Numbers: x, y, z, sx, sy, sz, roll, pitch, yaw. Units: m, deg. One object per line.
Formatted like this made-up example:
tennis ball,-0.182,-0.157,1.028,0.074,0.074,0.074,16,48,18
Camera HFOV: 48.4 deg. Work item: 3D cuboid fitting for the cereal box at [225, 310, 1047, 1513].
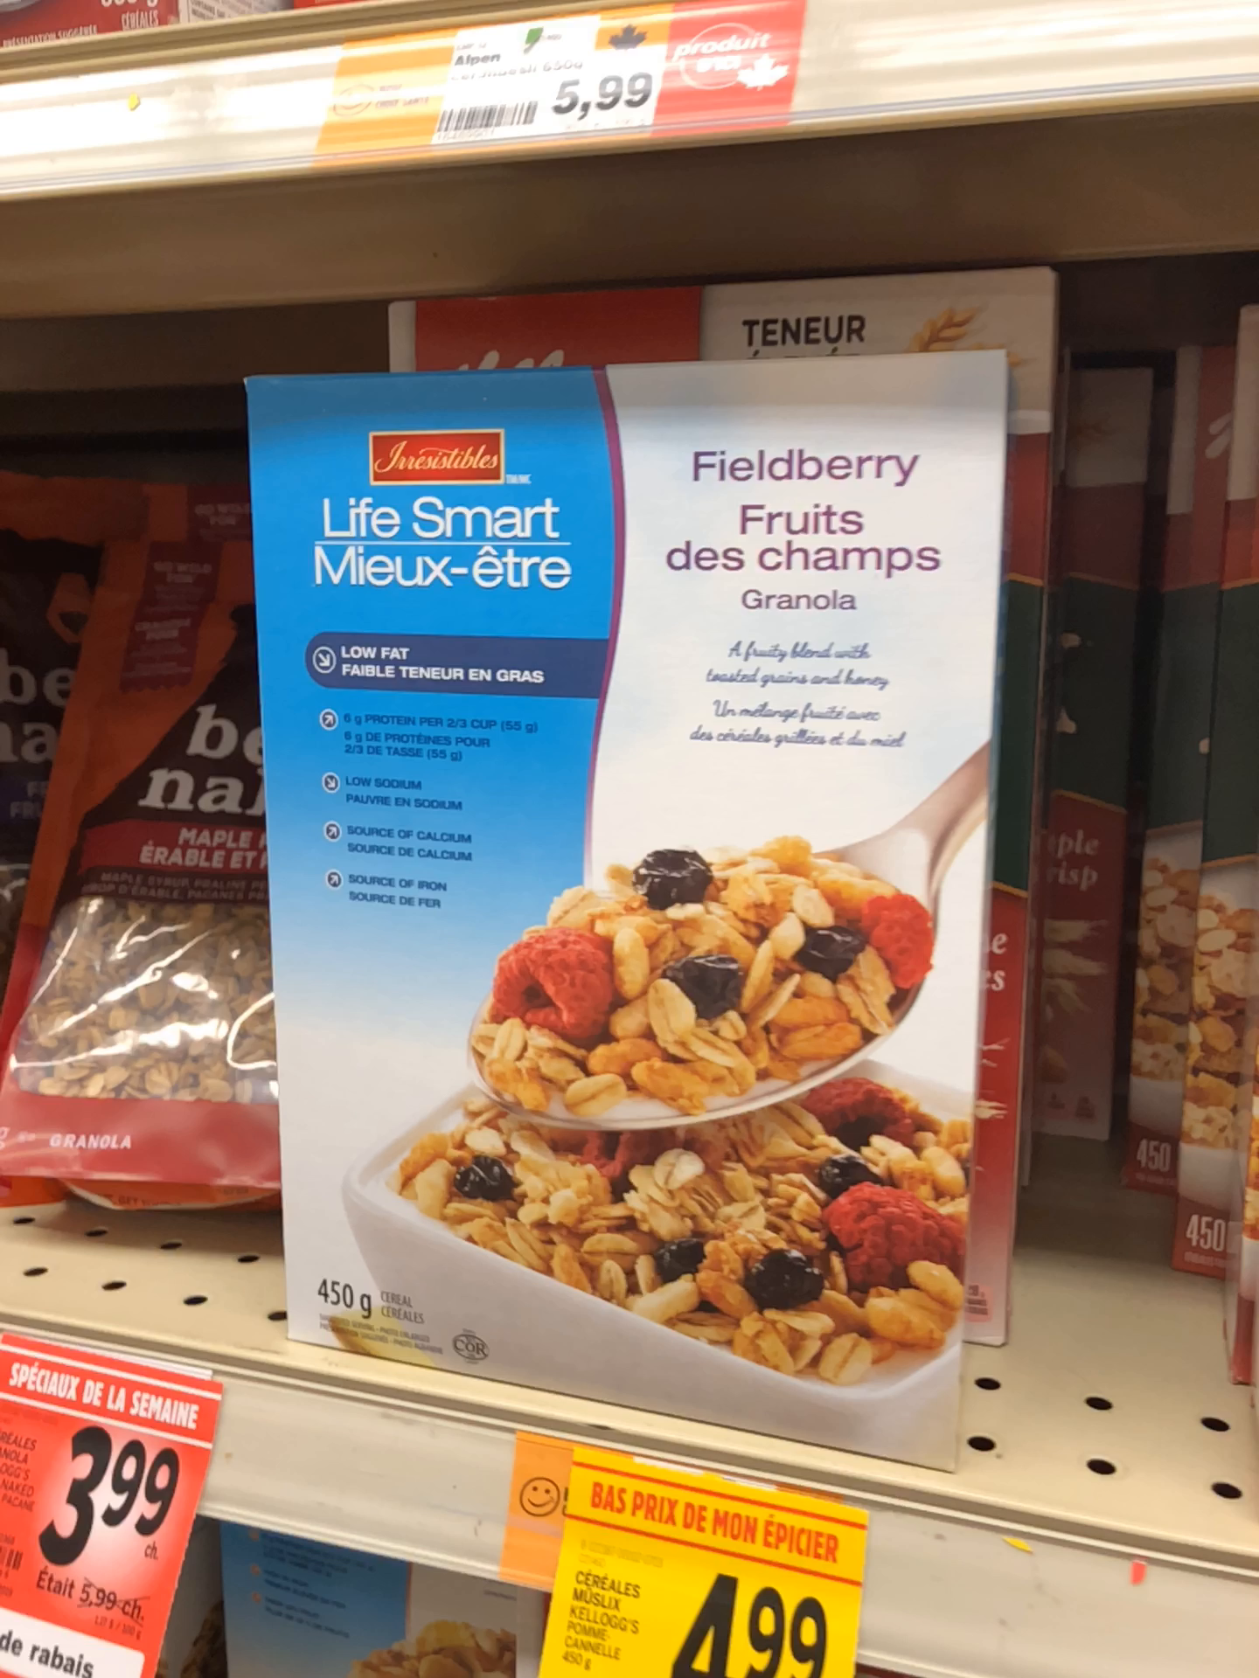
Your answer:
cereal box,0.000,0.013,0.322,0.170,0.239,0.050,4,11,19
